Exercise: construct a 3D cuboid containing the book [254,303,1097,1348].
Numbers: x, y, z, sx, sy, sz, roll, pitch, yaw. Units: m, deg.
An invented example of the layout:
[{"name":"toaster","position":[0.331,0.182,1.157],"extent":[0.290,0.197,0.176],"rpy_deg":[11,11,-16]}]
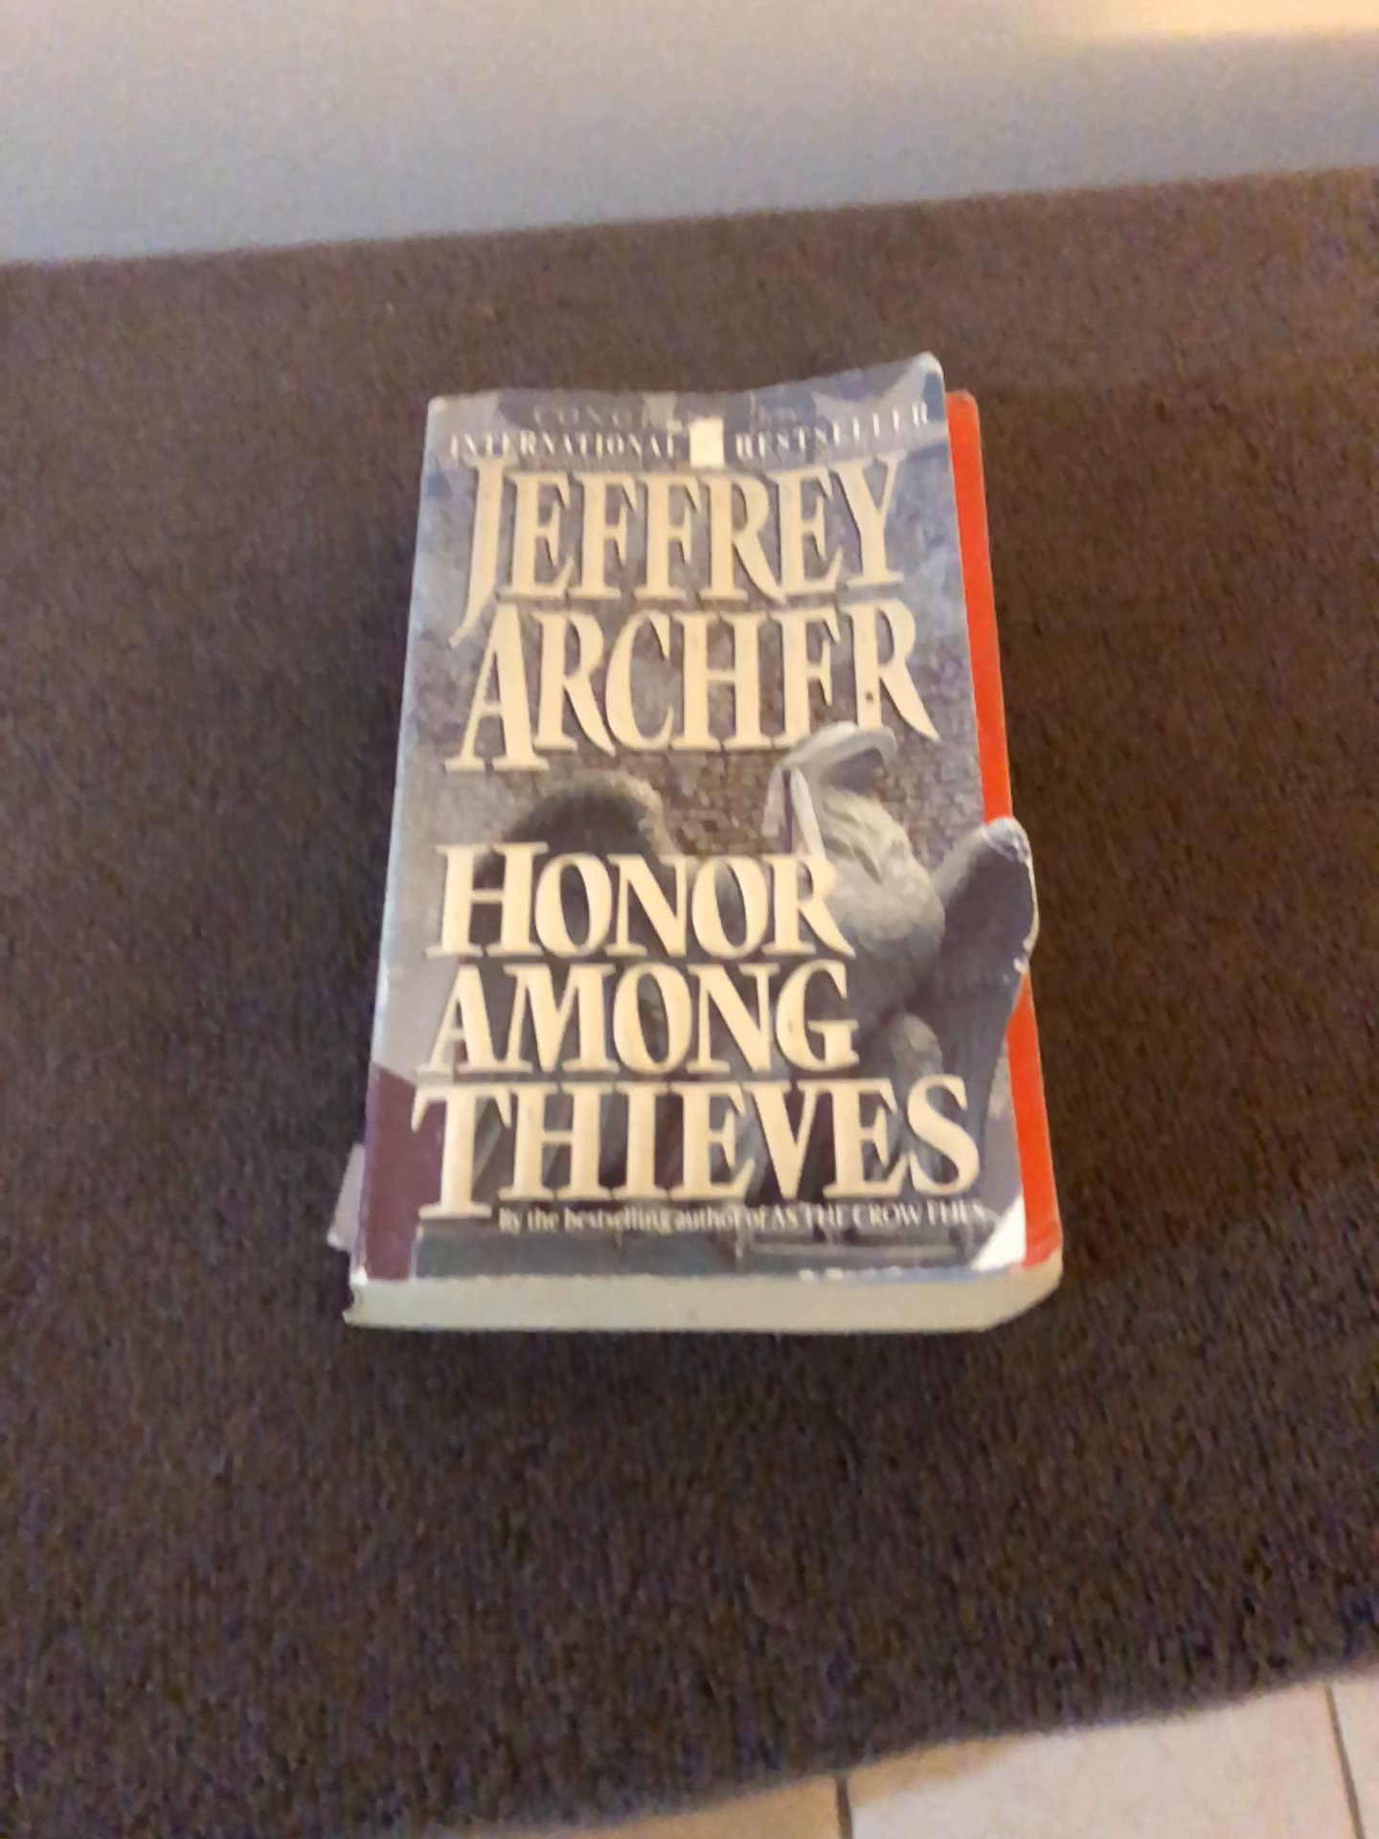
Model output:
[{"name":"book","position":[-0.001,-0.024,0.277],"extent":[0.120,0.040,0.190],"rpy_deg":[1,64,-2]}]
